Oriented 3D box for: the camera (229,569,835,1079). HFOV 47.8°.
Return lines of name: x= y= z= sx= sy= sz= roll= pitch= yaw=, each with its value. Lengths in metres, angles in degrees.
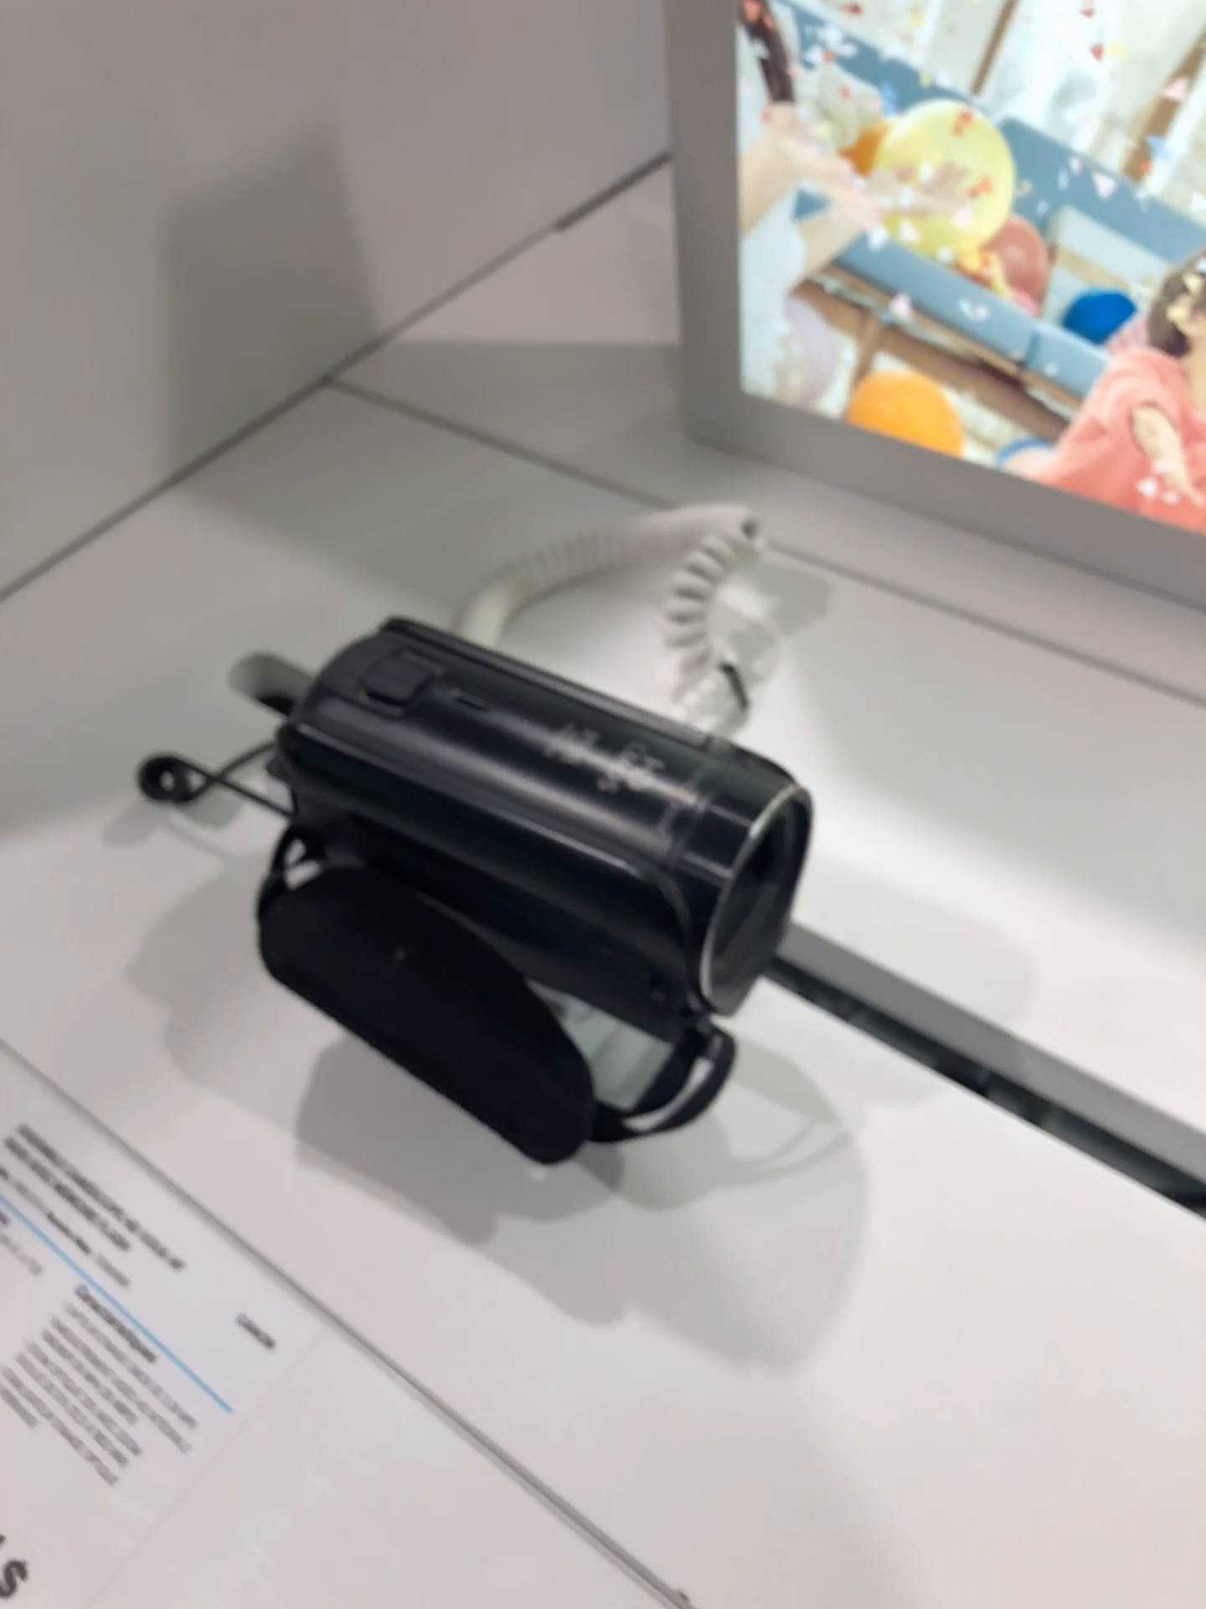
camera: x=-0.014 y=0.000 z=0.287 sx=0.113 sy=0.050 sz=0.050 roll=24 pitch=54 yaw=26
